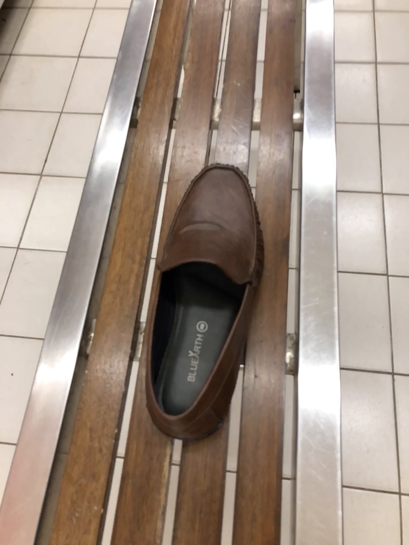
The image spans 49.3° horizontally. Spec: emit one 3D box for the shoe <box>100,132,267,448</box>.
[{"bbox_3d":[-0.005,0.009,0.429,0.090,0.090,0.281,8,67,9],"label":"shoe"}]
